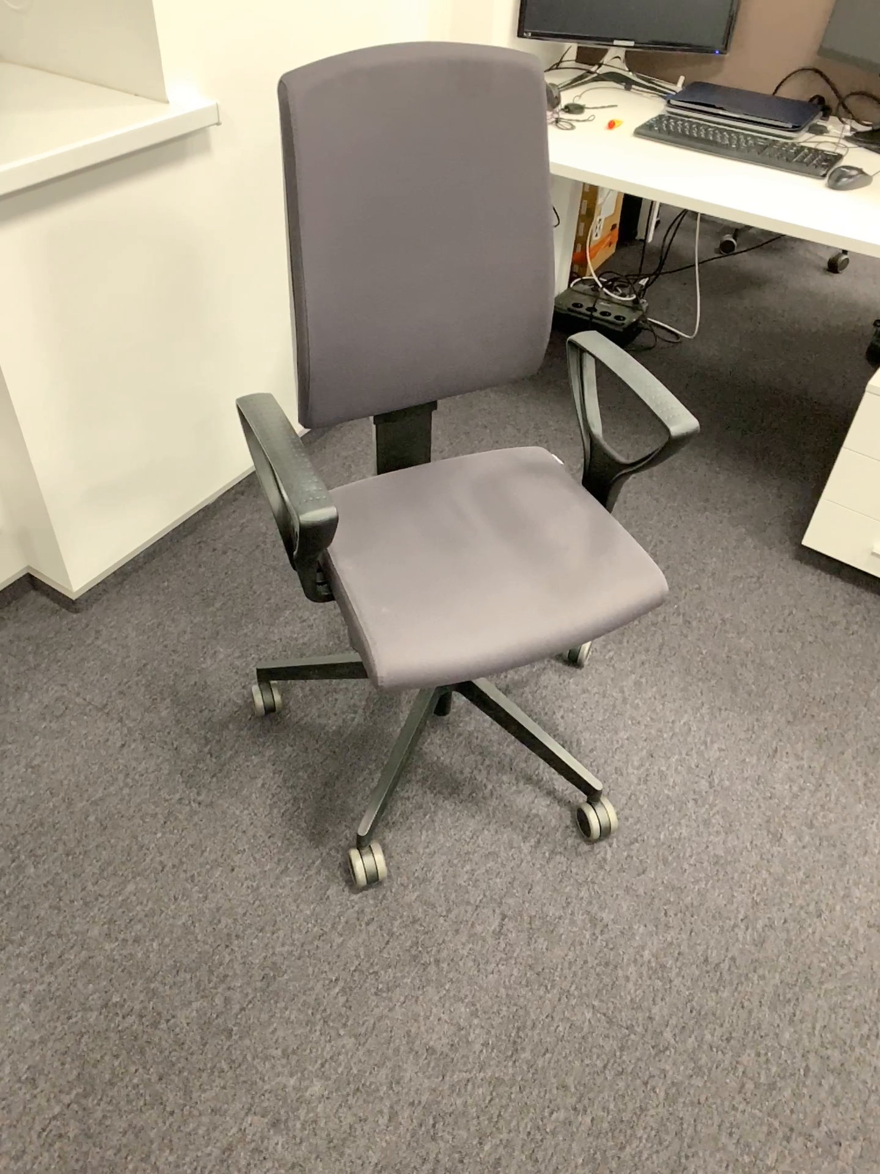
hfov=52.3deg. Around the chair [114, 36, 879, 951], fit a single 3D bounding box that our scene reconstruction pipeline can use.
[{"bbox_3d":[0.027,-0.152,1.391,0.701,1.045,0.753,-16,46,-20],"label":"chair"}]
